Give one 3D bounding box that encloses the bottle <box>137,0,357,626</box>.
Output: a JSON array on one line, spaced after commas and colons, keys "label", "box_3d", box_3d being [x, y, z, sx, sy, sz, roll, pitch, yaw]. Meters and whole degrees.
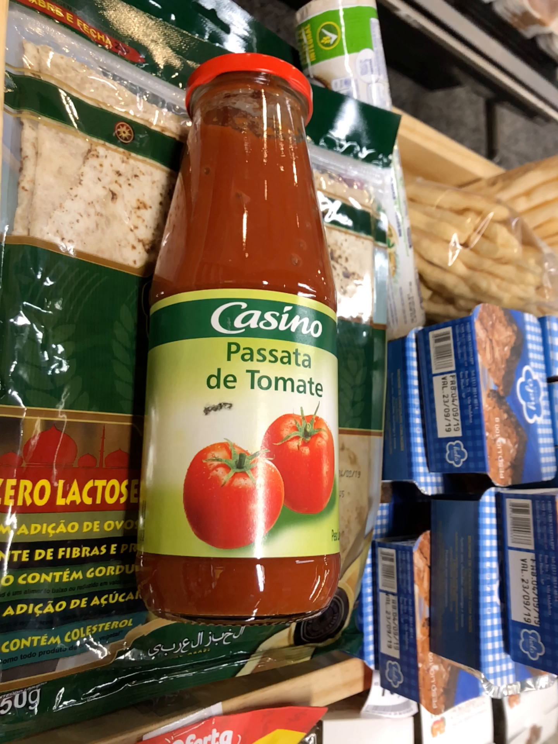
[{"label": "bottle", "box_3d": [-0.018, -0.030, 0.253, 0.070, 0.080, 0.230, 2, 82, -14]}]
